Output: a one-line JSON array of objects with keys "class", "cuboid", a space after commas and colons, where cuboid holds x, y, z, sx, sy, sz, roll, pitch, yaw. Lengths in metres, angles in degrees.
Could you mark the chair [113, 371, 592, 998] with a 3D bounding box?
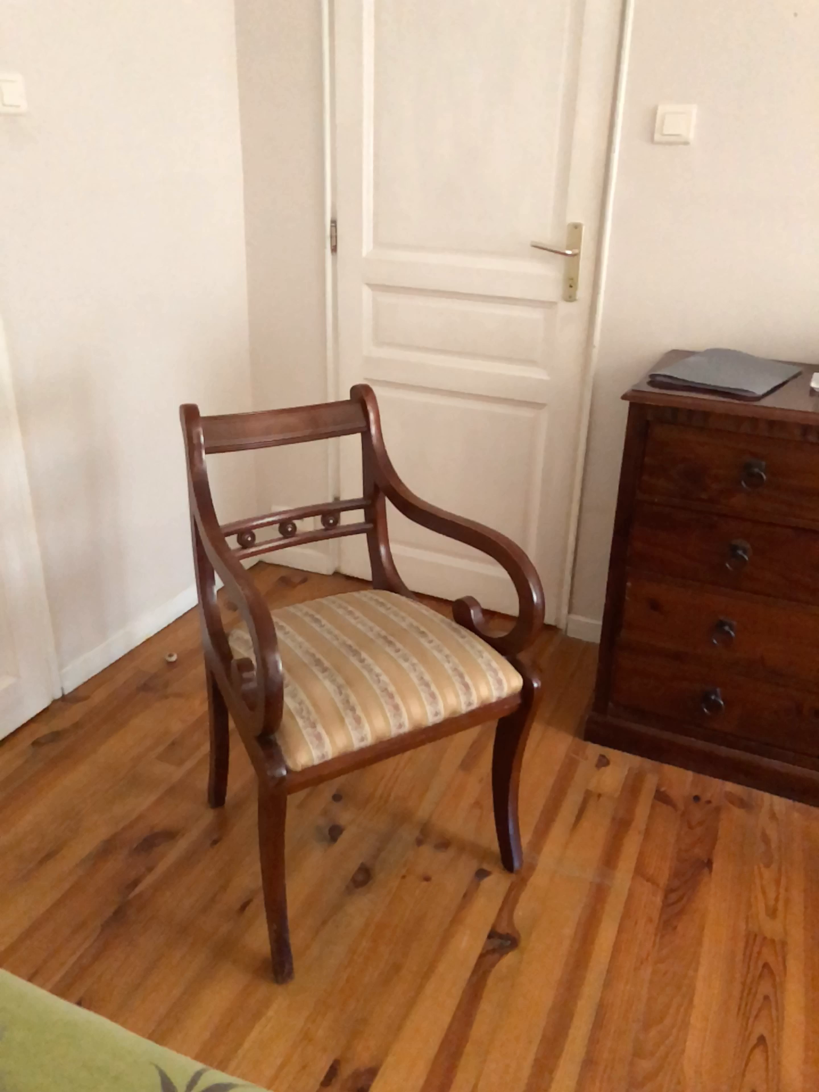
[{"class": "chair", "cuboid": [-0.127, 0.179, 1.607, 0.582, 0.826, 0.571, -12, 27, -29]}]
